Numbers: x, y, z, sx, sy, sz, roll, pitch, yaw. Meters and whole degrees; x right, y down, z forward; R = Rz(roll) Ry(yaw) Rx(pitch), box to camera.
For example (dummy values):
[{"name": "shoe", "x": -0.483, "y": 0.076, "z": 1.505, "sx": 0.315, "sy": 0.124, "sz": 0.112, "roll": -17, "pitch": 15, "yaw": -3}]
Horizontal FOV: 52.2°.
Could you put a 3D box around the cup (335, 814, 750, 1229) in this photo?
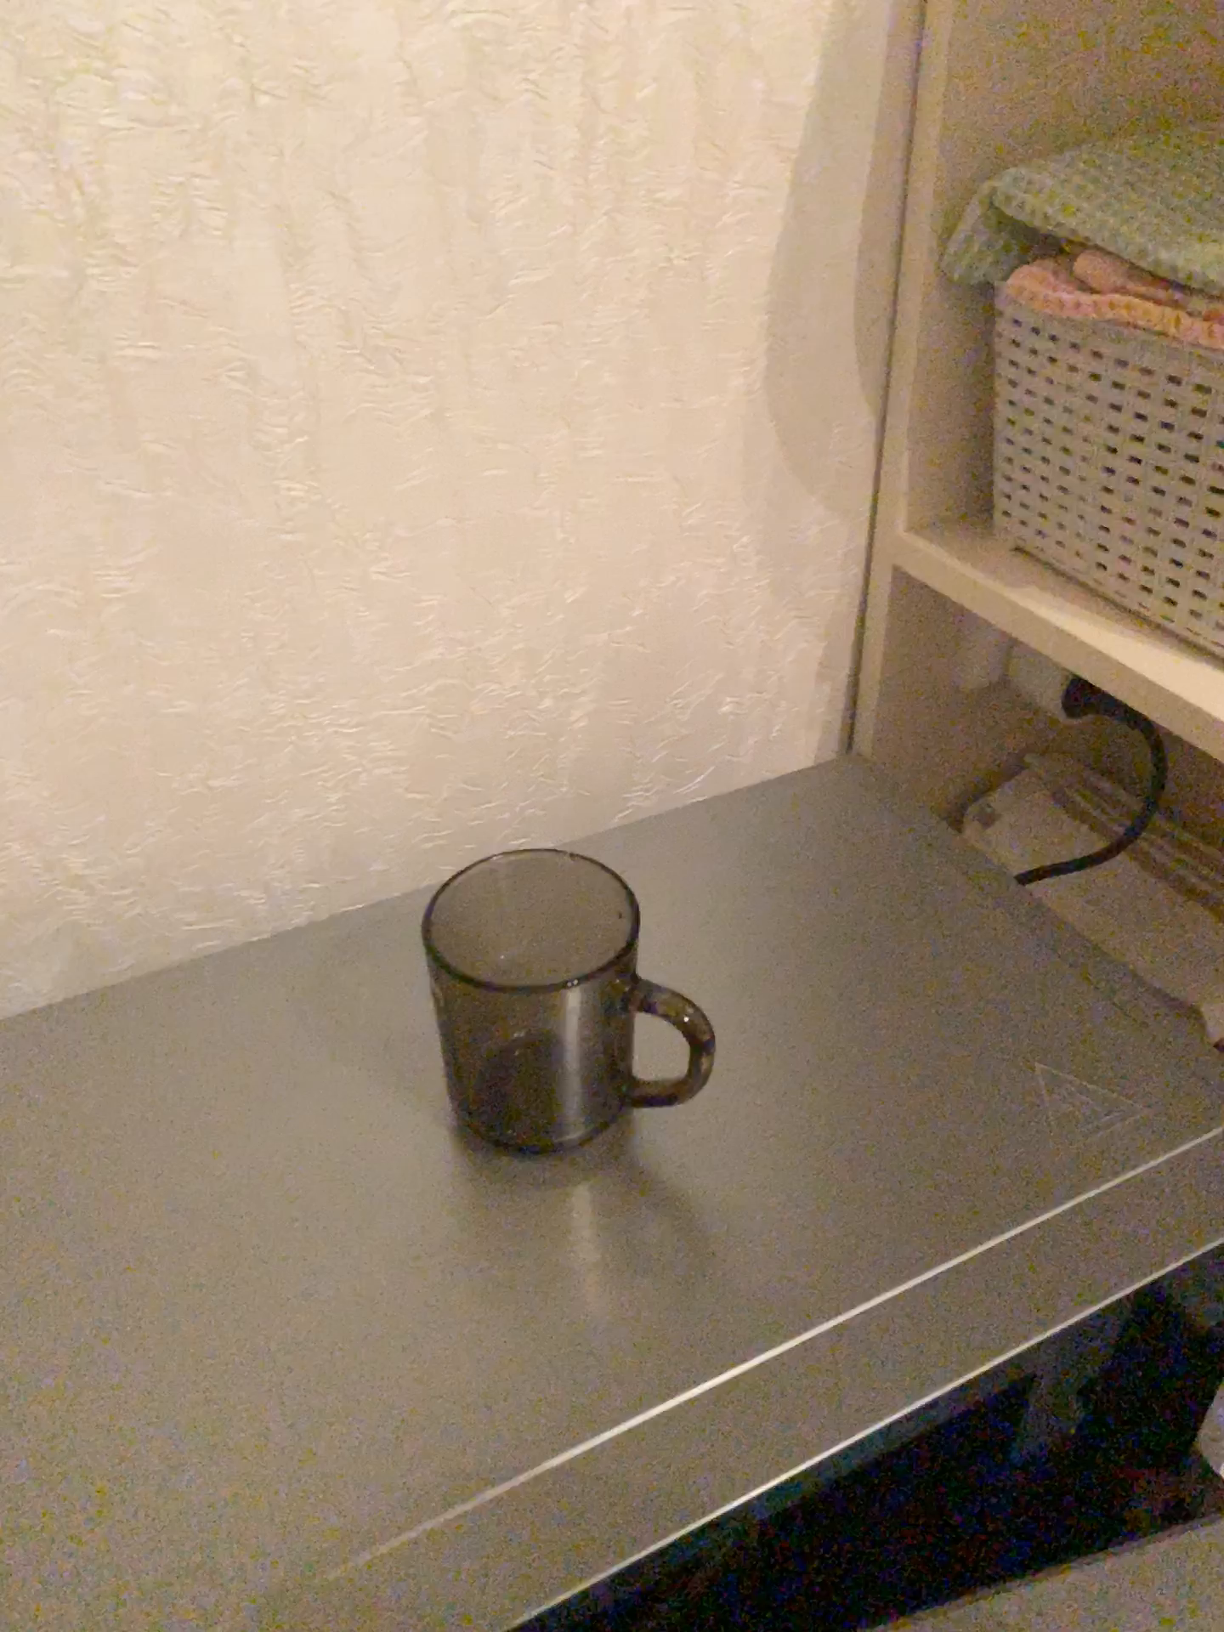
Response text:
[{"name": "cup", "x": -0.020, "y": 0.066, "z": 0.428, "sx": 0.110, "sy": 0.079, "sz": 0.081, "roll": 14, "pitch": 38, "yaw": 21}]
